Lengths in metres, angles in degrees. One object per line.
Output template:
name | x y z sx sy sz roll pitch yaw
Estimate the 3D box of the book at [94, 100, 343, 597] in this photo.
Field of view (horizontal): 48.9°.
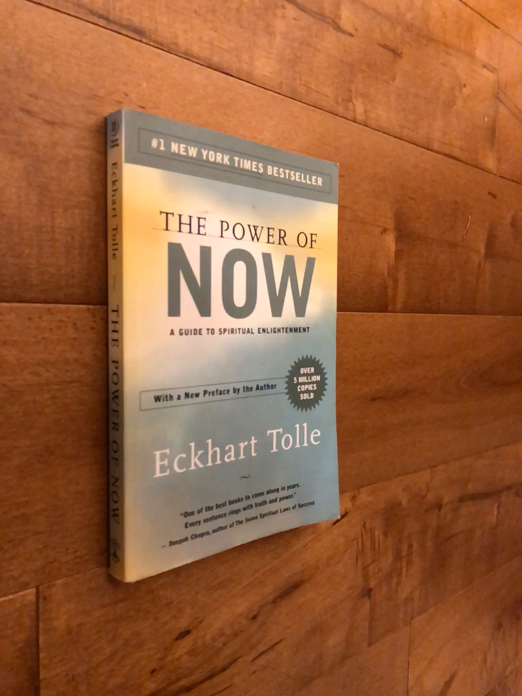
book | -0.014 -0.001 0.316 0.147 0.030 0.222 -3 94 -42
